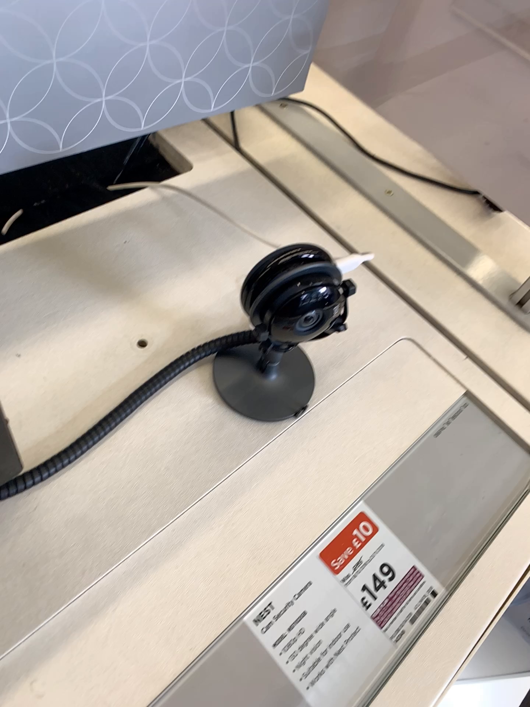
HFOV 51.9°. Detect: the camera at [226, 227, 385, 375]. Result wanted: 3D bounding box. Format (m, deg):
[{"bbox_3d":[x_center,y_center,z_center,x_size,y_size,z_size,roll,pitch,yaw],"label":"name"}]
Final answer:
[{"bbox_3d":[0.020,-0.029,0.299,0.060,0.050,0.050,-15,61,-23],"label":"camera"}]
